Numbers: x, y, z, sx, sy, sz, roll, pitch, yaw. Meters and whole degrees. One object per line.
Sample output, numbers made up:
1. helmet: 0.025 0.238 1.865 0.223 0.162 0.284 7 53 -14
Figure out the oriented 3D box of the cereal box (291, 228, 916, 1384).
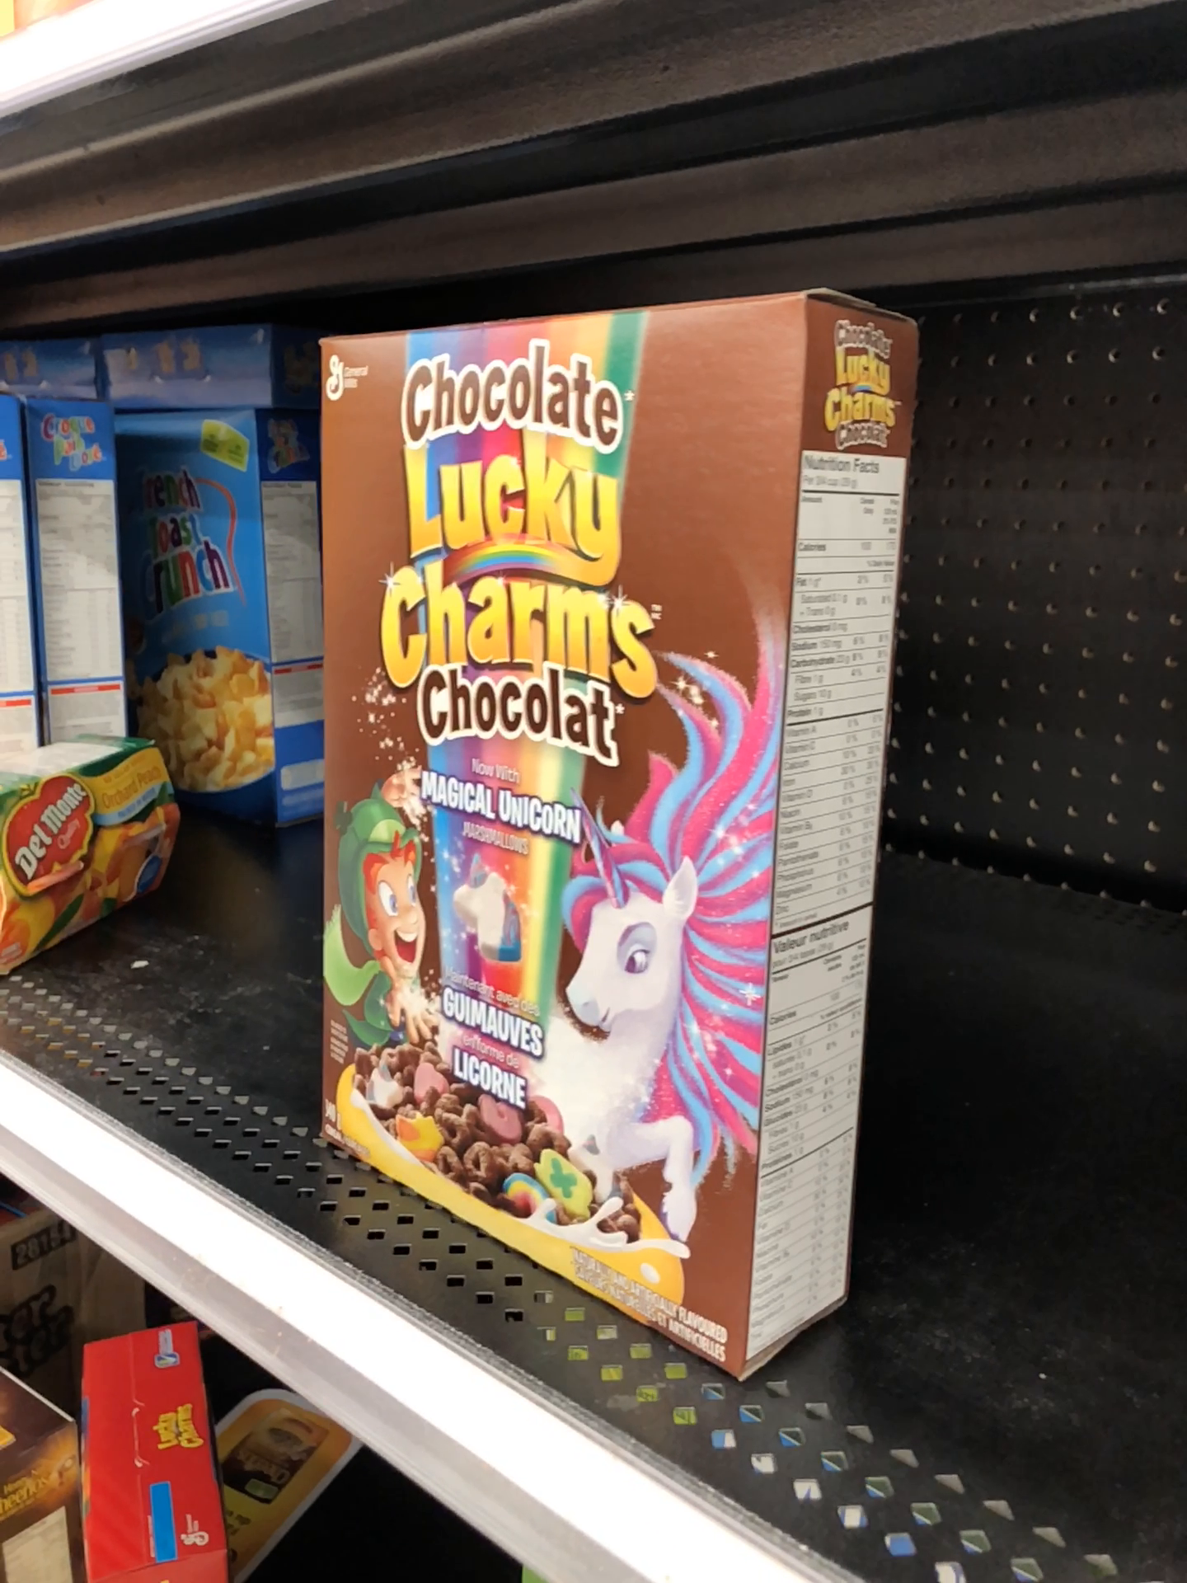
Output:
1. cereal box: -0.012 -0.004 0.405 0.200 0.289 0.050 13 16 42
